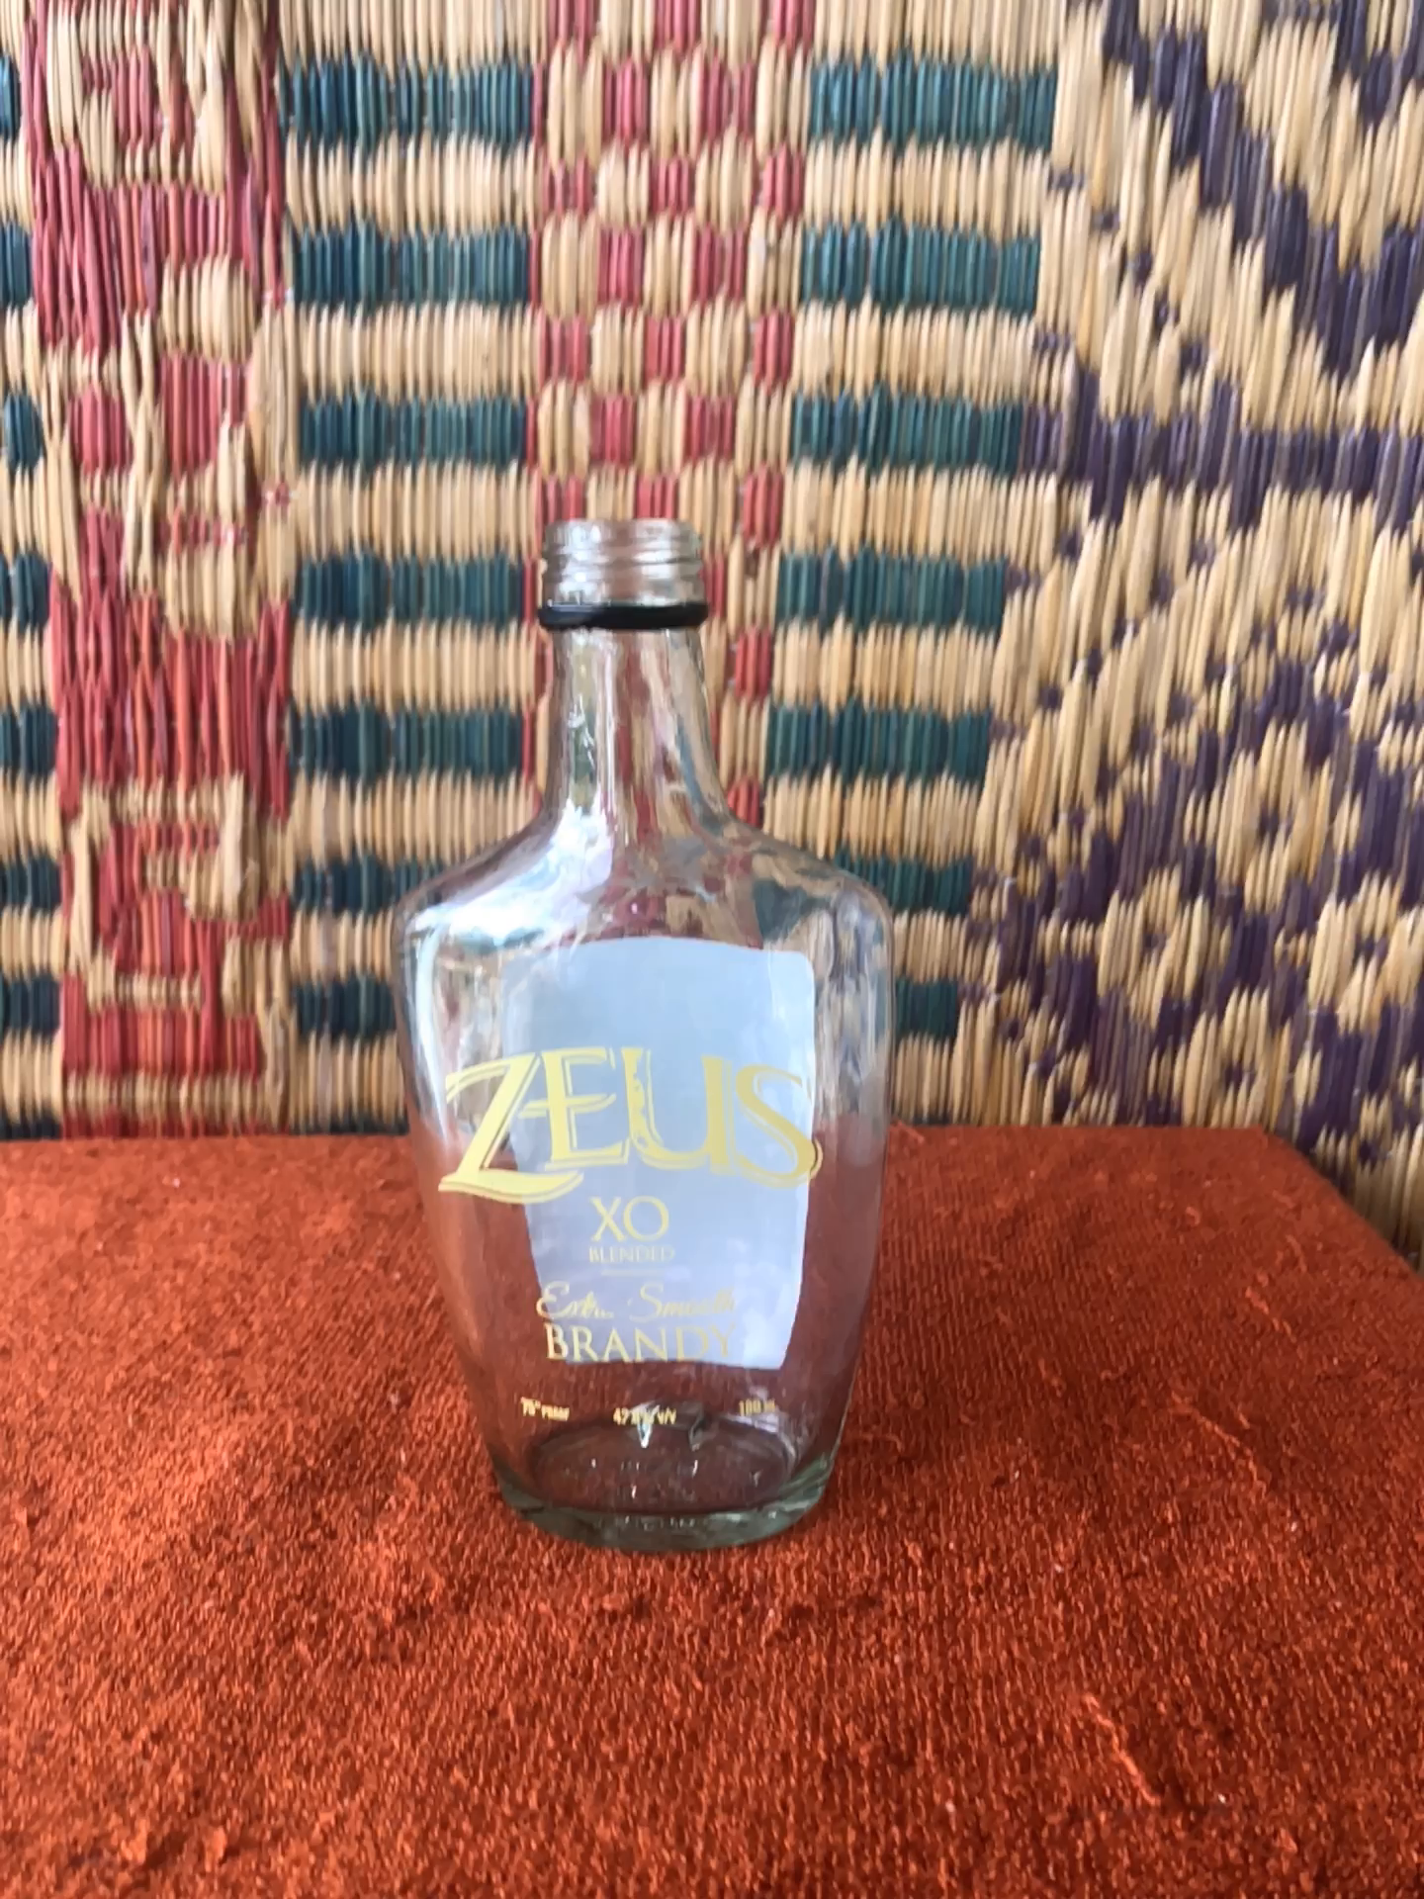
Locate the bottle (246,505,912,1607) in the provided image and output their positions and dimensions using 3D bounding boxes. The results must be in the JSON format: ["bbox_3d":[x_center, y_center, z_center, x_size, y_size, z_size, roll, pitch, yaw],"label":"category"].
[{"bbox_3d":[-0.015,0.015,0.228,0.080,0.149,0.040,2,16,6],"label":"bottle"}]
